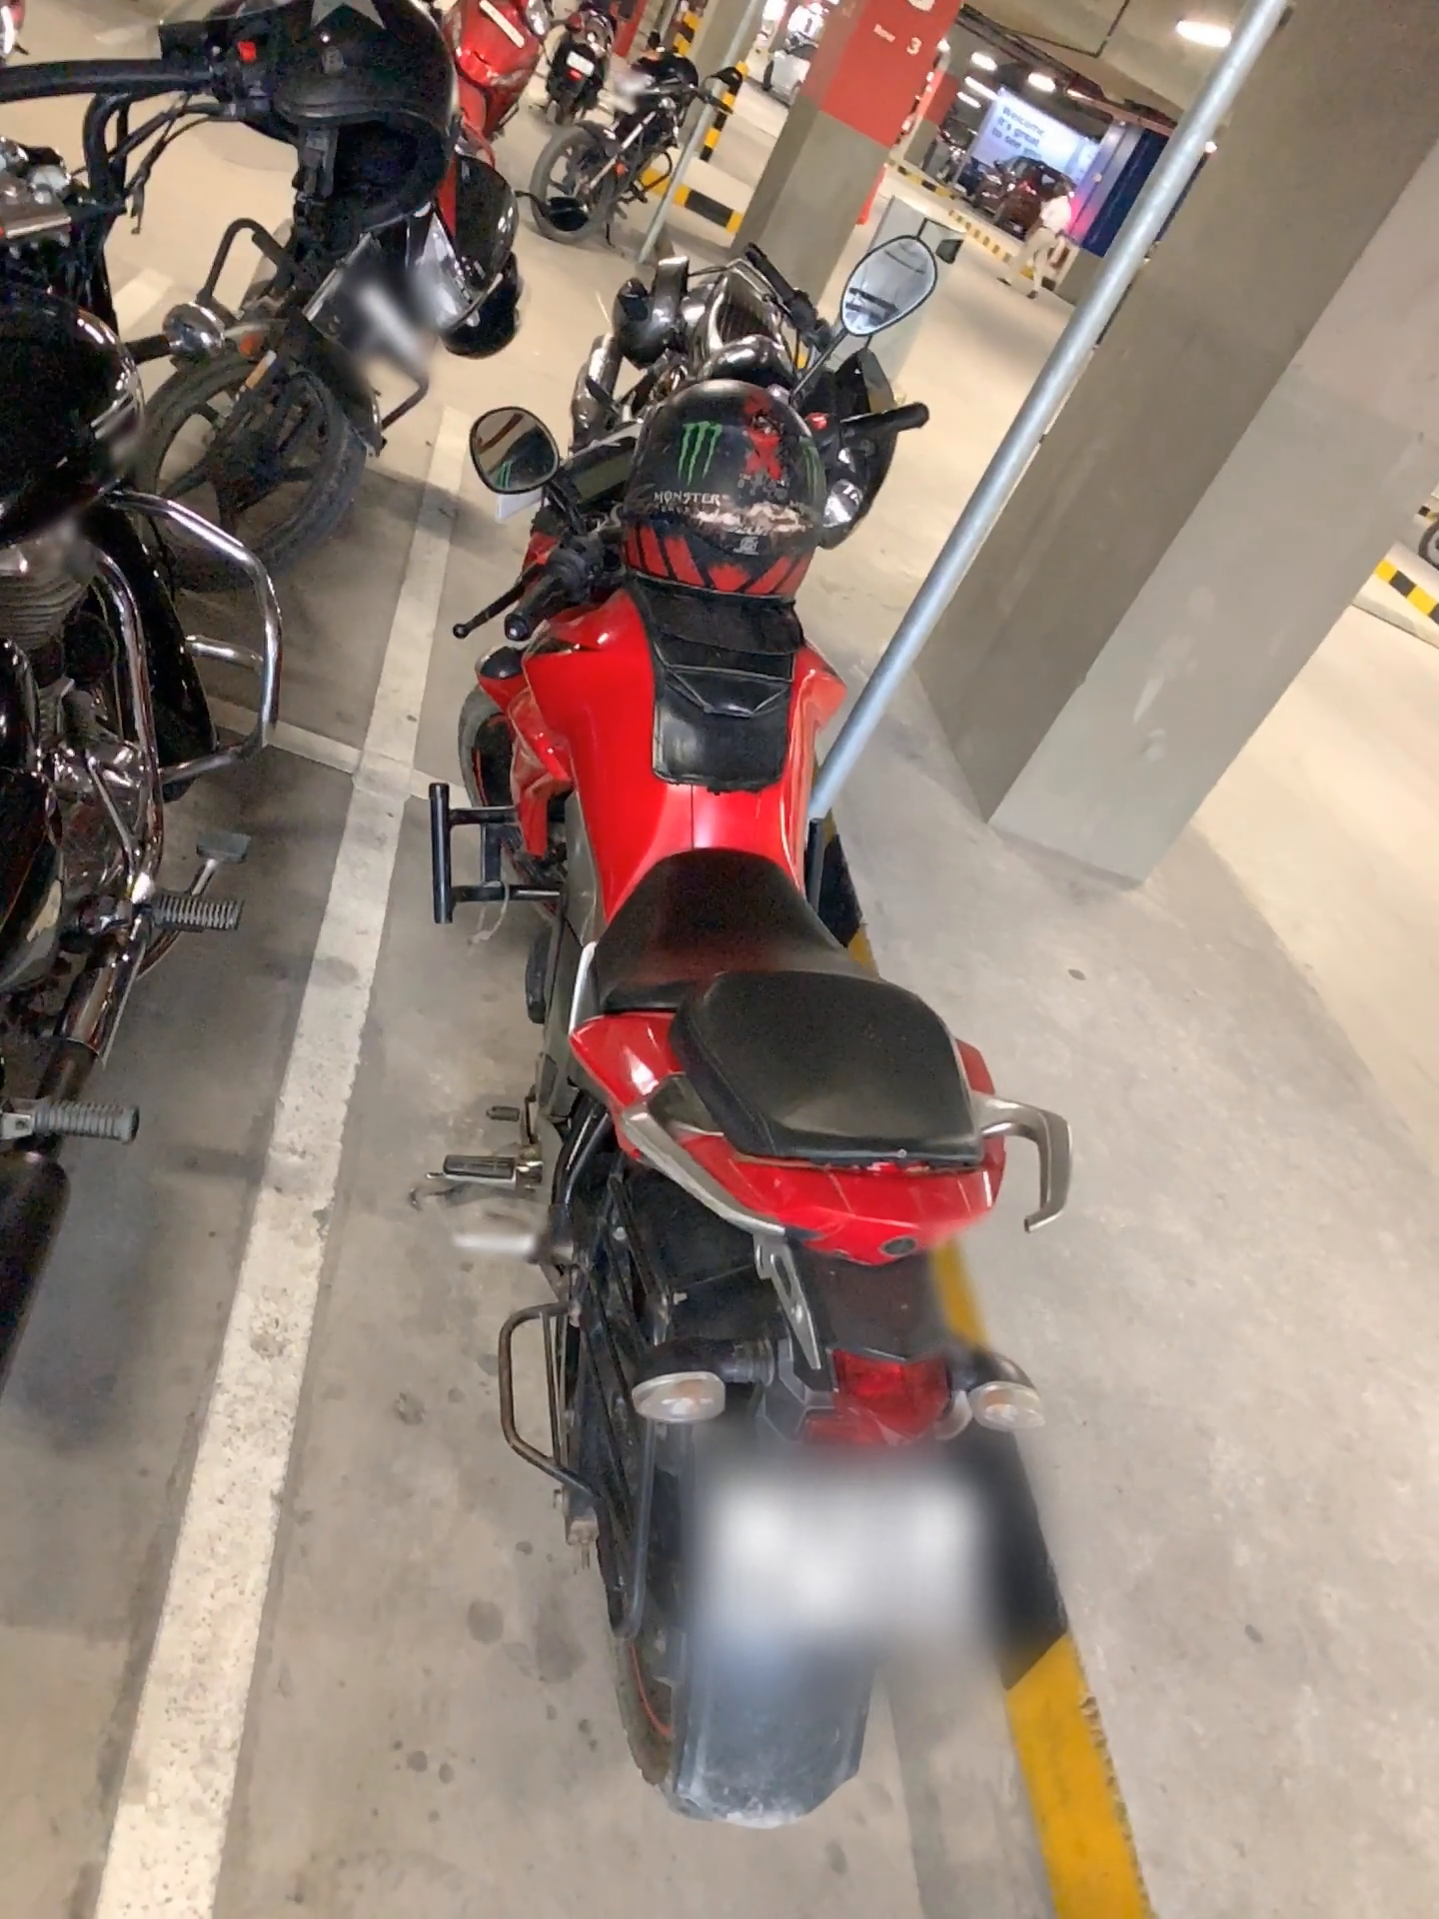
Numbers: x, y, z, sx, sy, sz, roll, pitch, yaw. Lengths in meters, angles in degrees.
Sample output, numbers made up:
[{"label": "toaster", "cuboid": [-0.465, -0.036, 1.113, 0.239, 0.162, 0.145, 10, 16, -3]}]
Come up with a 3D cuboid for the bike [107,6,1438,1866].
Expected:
[{"label": "bike", "cuboid": [-0.219, -0.136, 1.682, 0.678, 1.121, 1.687, 11, 36, -30]}]
